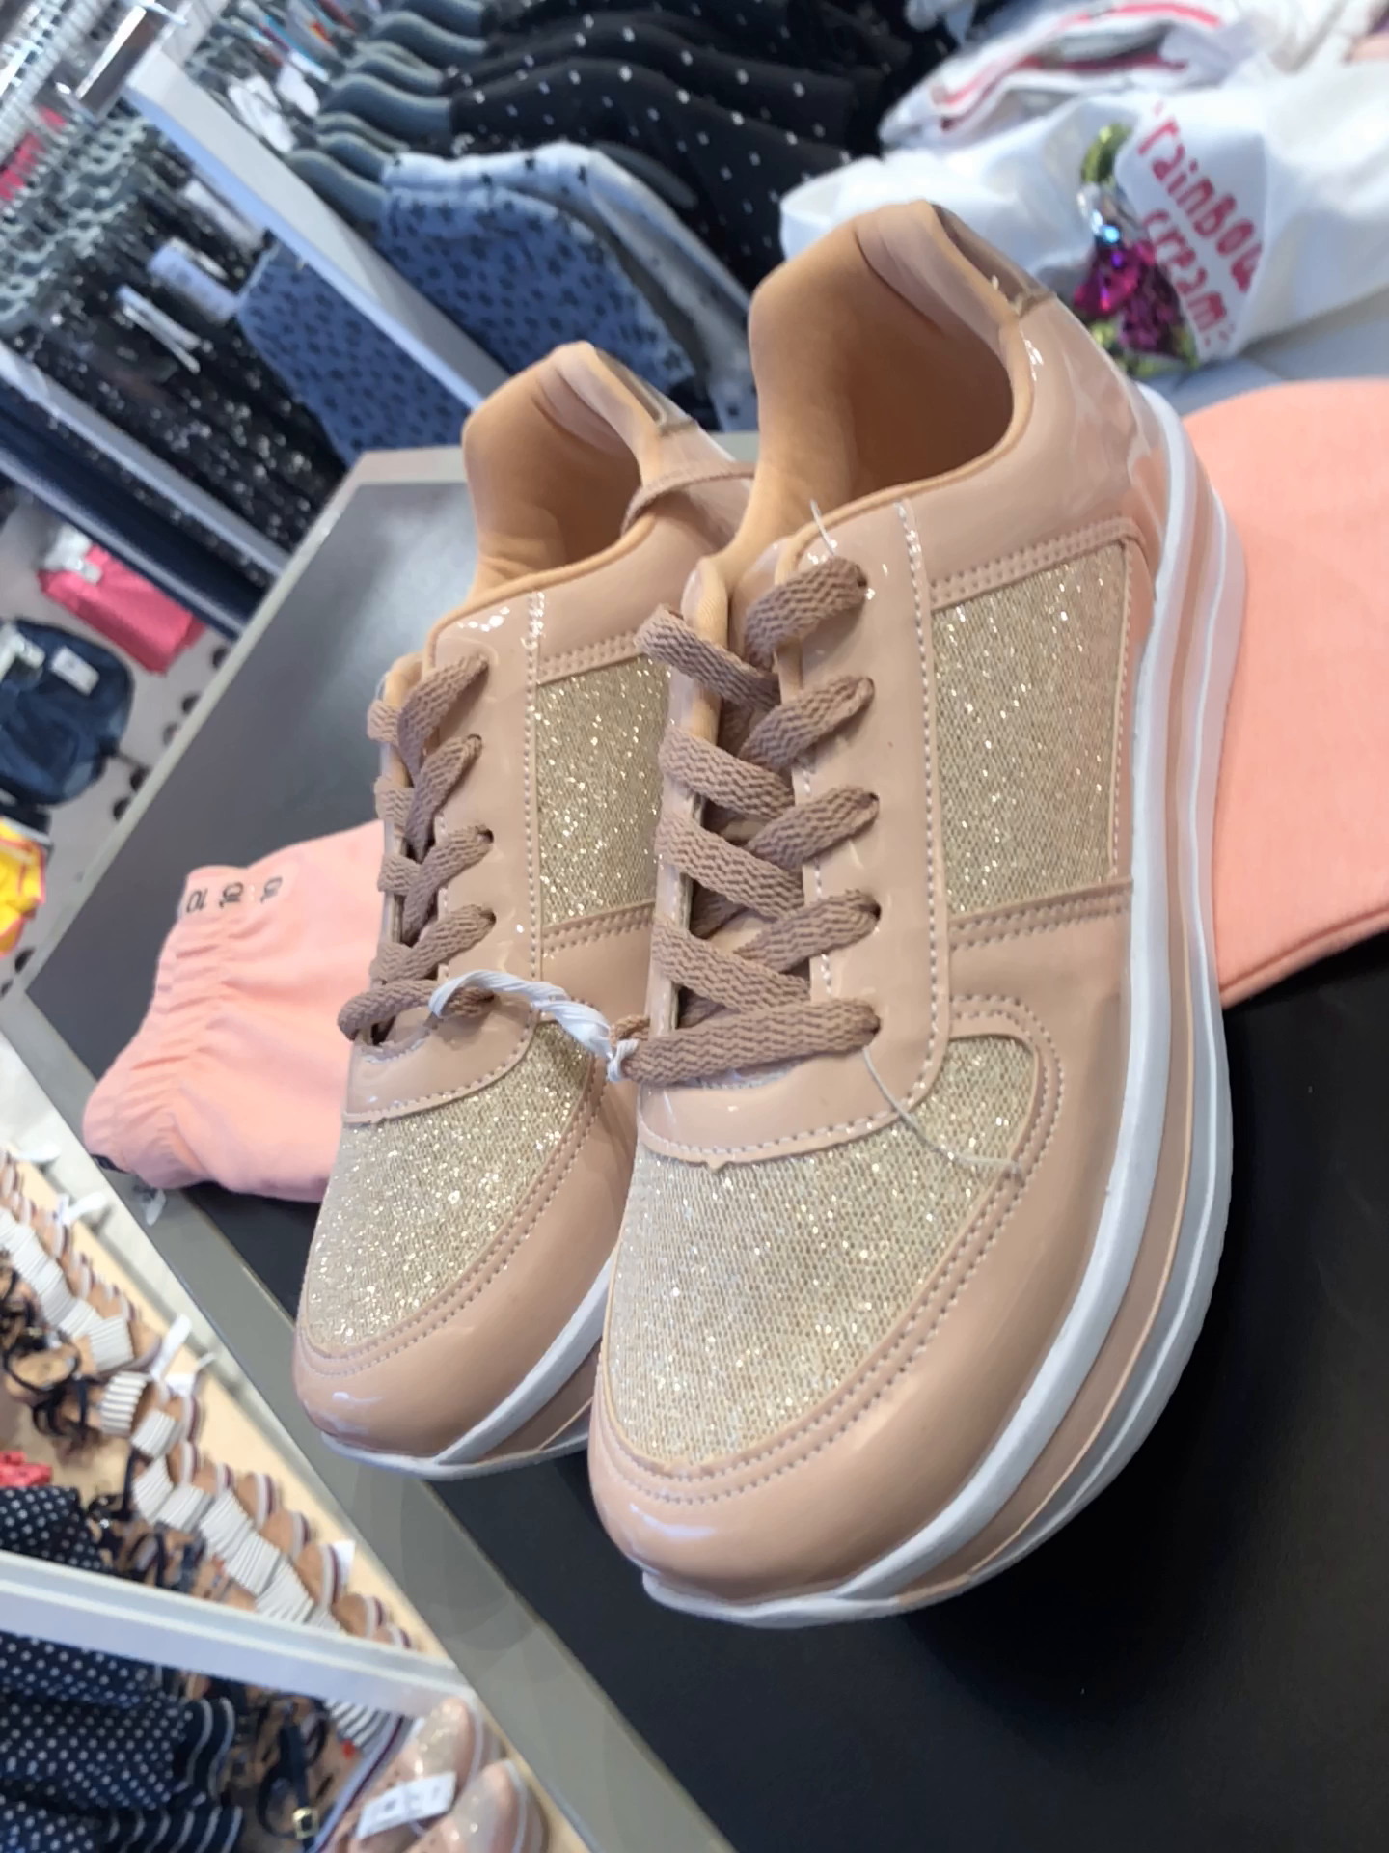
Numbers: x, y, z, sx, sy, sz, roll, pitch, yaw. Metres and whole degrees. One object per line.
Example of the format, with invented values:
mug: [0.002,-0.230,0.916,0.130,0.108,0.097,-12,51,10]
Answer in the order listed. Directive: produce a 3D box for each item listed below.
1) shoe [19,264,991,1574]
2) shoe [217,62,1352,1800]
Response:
shoe: [-0.026,-0.003,0.315,0.090,0.099,0.220,-8,57,45]
shoe: [0.028,-0.005,0.242,0.090,0.089,0.220,-8,57,45]
